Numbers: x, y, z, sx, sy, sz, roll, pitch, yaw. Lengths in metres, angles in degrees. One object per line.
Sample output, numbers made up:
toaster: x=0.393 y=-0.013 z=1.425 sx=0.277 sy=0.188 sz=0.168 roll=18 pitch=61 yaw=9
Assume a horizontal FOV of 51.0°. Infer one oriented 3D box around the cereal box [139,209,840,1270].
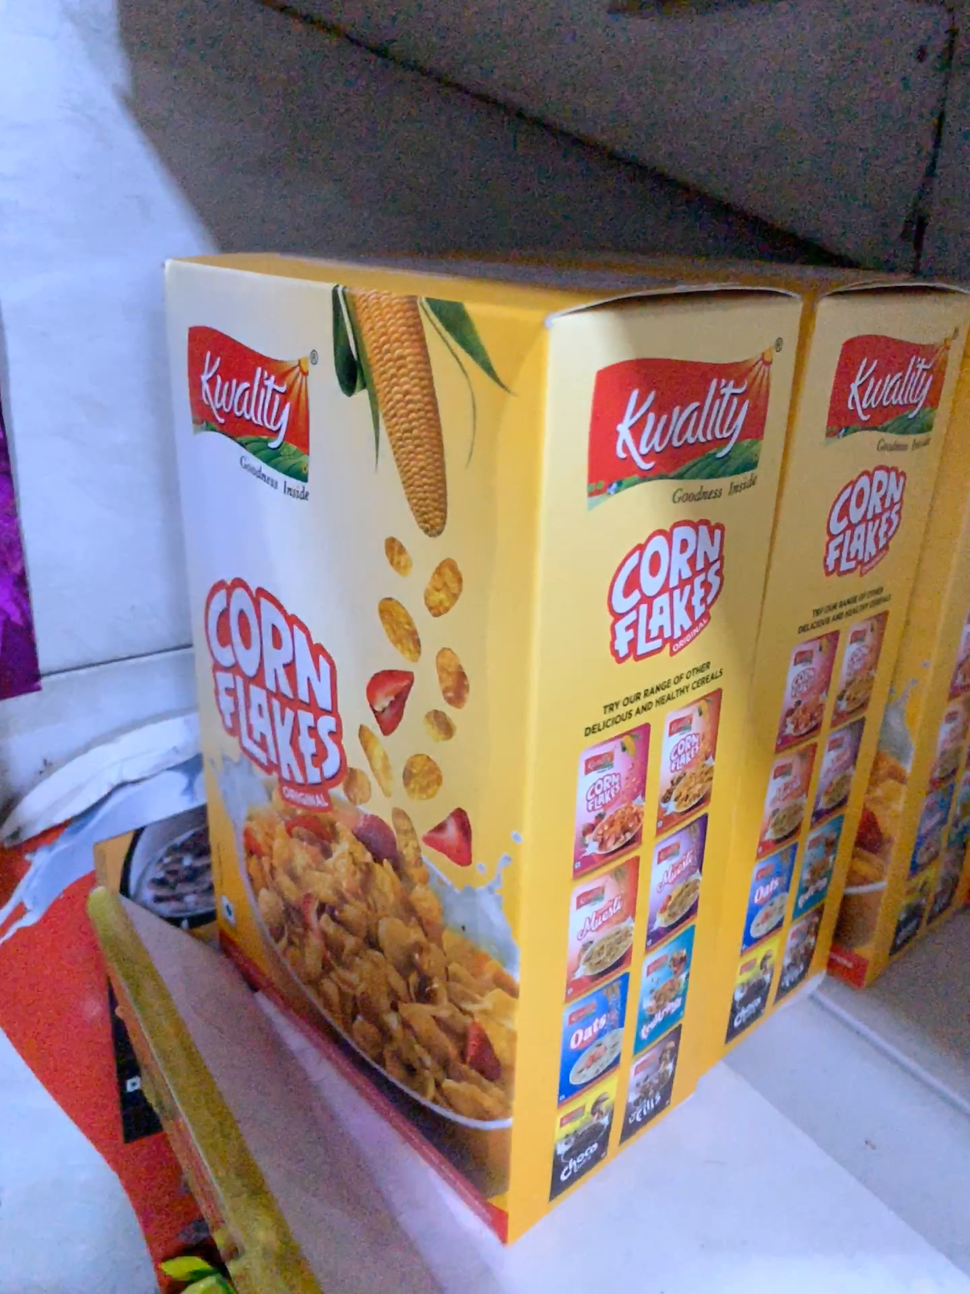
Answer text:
cereal box: x=-0.010 y=0.007 z=0.215 sx=0.060 sy=0.179 sz=0.121 roll=-17 pitch=29 yaw=-39
